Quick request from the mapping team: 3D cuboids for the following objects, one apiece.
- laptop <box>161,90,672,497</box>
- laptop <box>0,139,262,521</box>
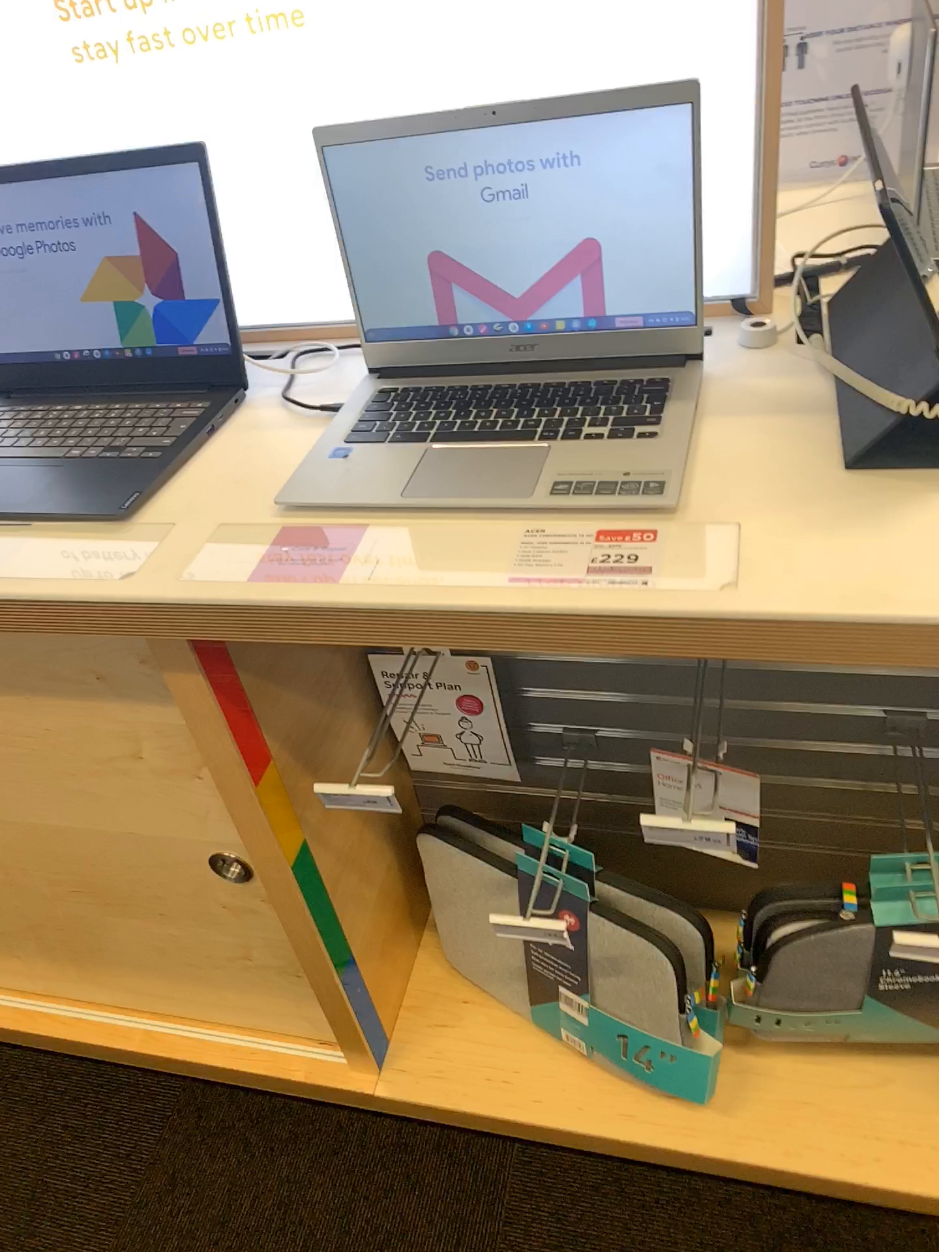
[{"bbox_3d":[-0.011,-0.249,0.730,0.303,0.206,0.238,2,39,16],"label":"laptop"},{"bbox_3d":[-0.416,-0.266,0.860,0.308,0.204,0.285,4,42,18],"label":"laptop"}]
